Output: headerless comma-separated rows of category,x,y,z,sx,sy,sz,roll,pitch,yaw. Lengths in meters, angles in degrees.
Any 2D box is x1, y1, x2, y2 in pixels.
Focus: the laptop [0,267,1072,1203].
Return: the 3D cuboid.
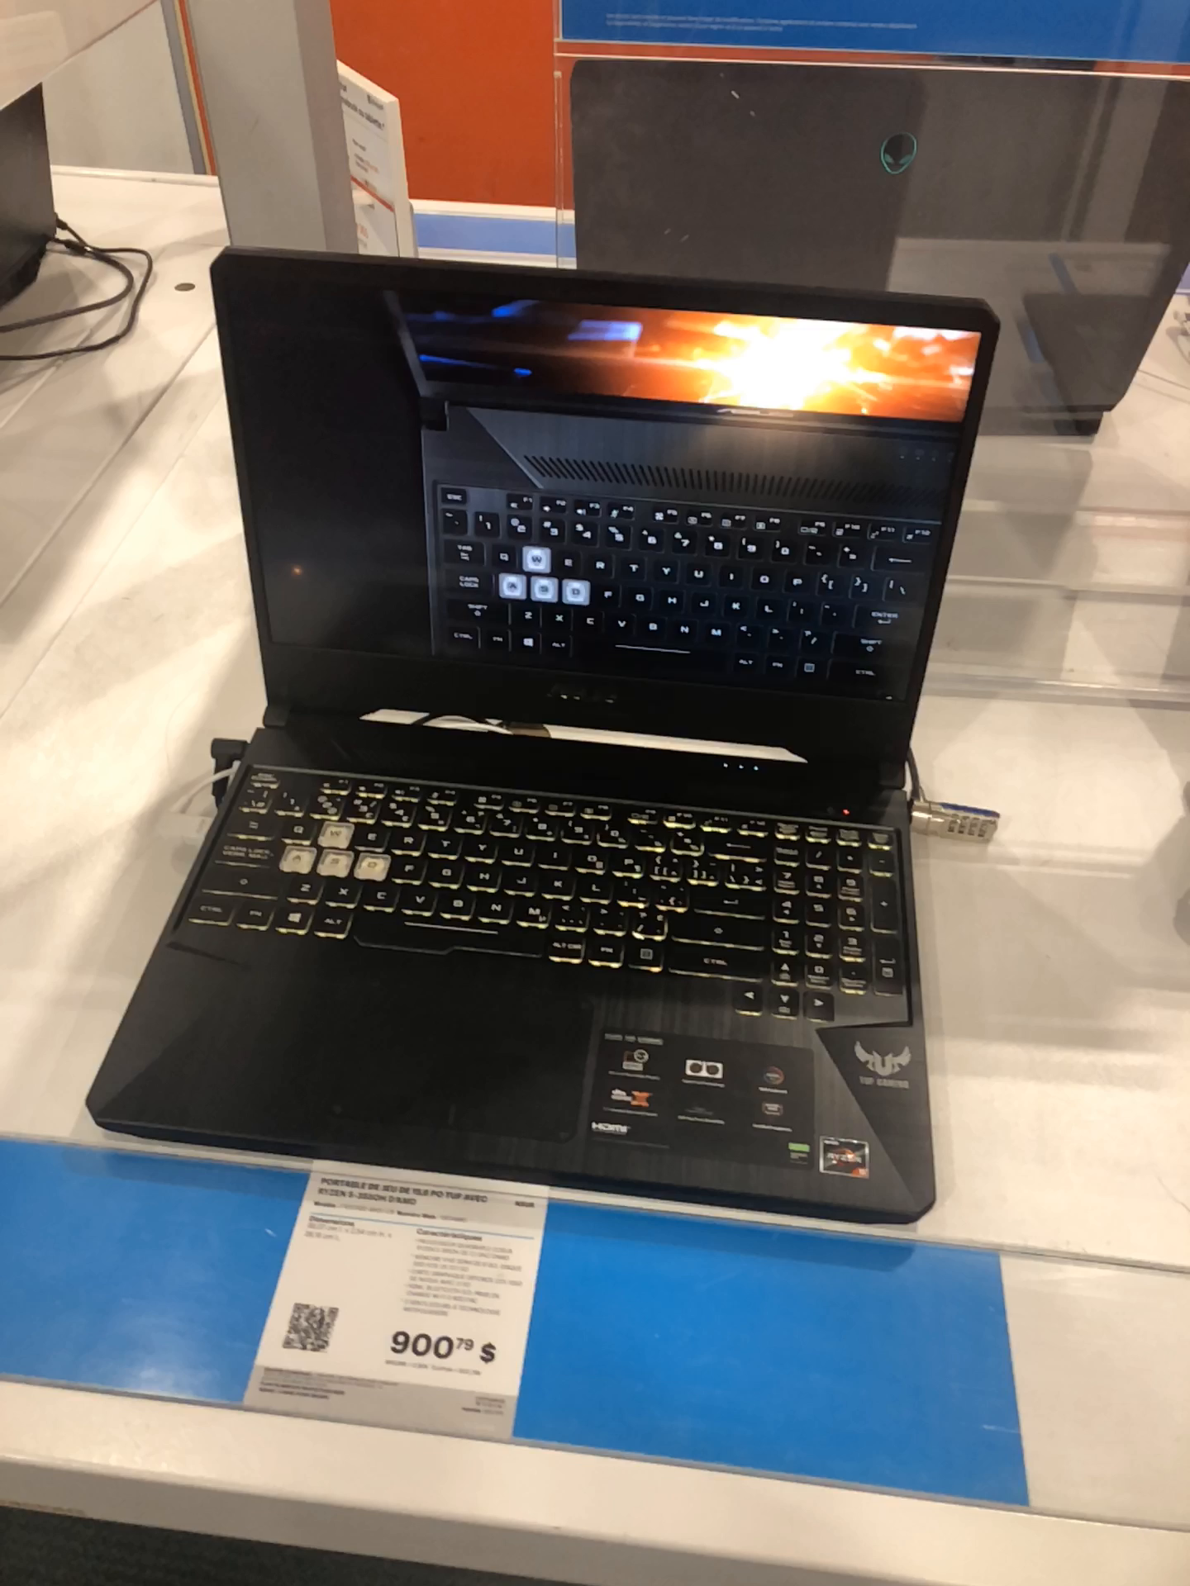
laptop,-0.019,-0.039,0.565,0.350,0.235,0.302,5,44,5
